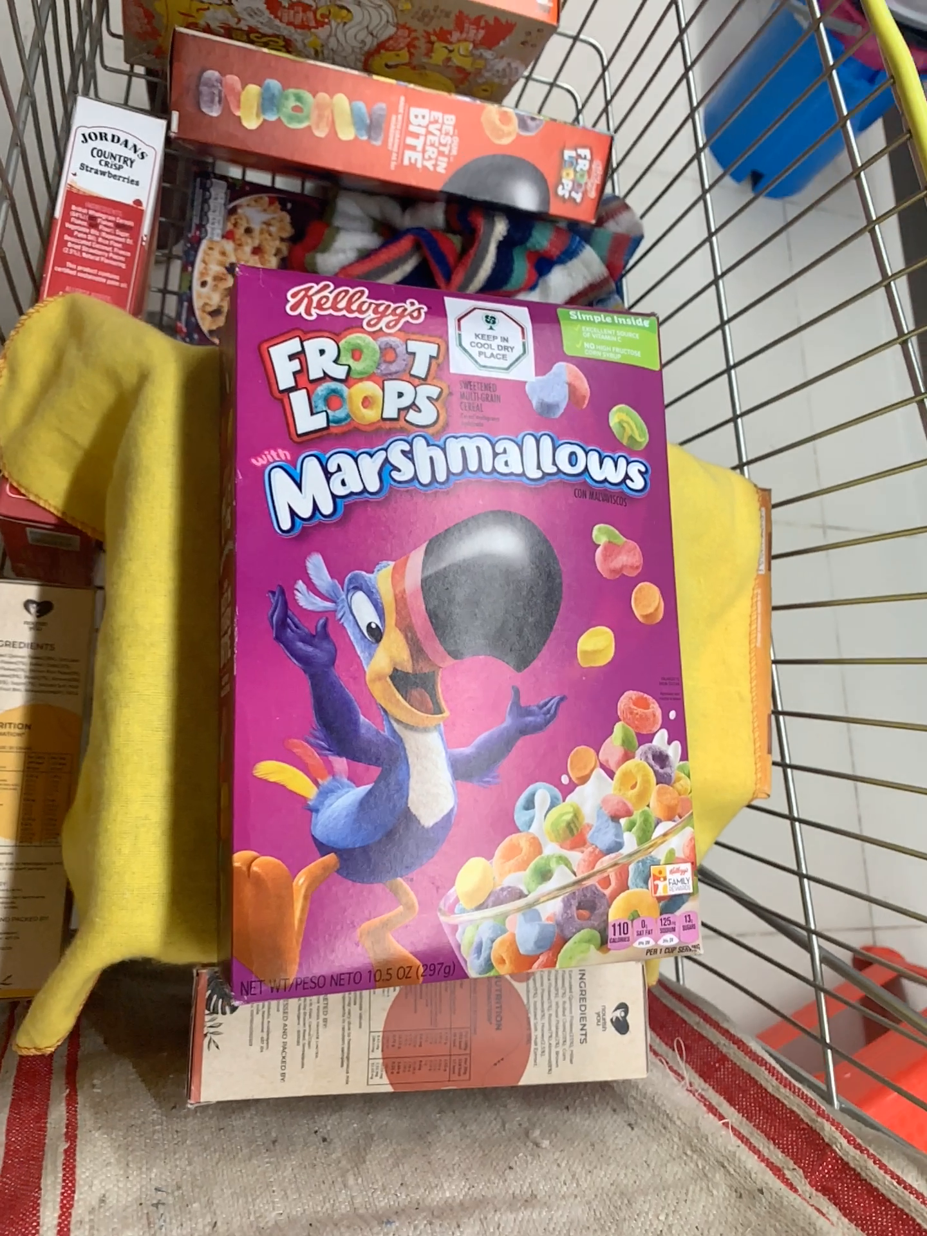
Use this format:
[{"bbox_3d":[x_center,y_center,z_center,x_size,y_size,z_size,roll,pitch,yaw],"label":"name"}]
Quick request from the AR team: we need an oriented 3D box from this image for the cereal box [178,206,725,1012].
[{"bbox_3d":[-0.010,-0.005,0.377,0.190,0.070,0.270,1,79,-18],"label":"cereal box"}]
